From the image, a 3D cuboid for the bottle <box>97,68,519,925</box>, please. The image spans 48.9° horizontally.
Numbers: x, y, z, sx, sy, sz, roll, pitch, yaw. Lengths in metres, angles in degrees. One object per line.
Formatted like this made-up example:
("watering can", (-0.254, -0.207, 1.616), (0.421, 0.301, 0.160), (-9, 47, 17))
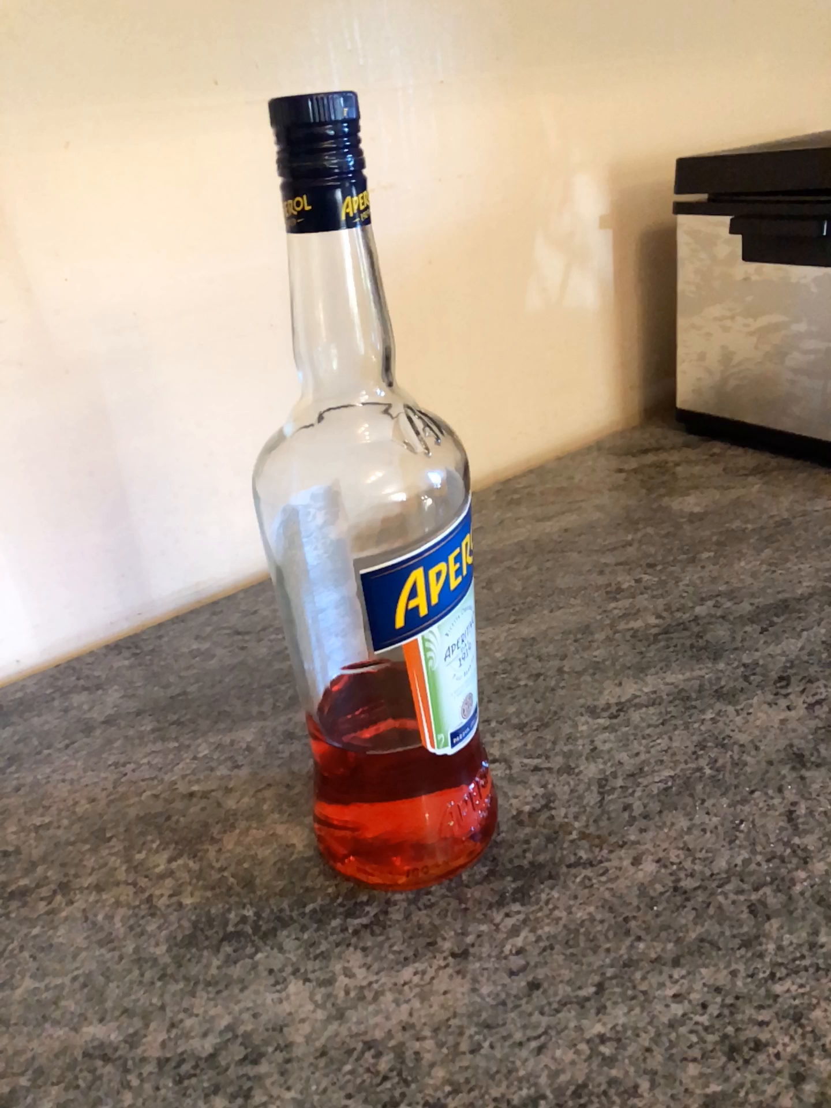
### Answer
("bottle", (-0.027, -0.013, 0.384), (0.090, 0.328, 0.091), (-6, 24, 3))
